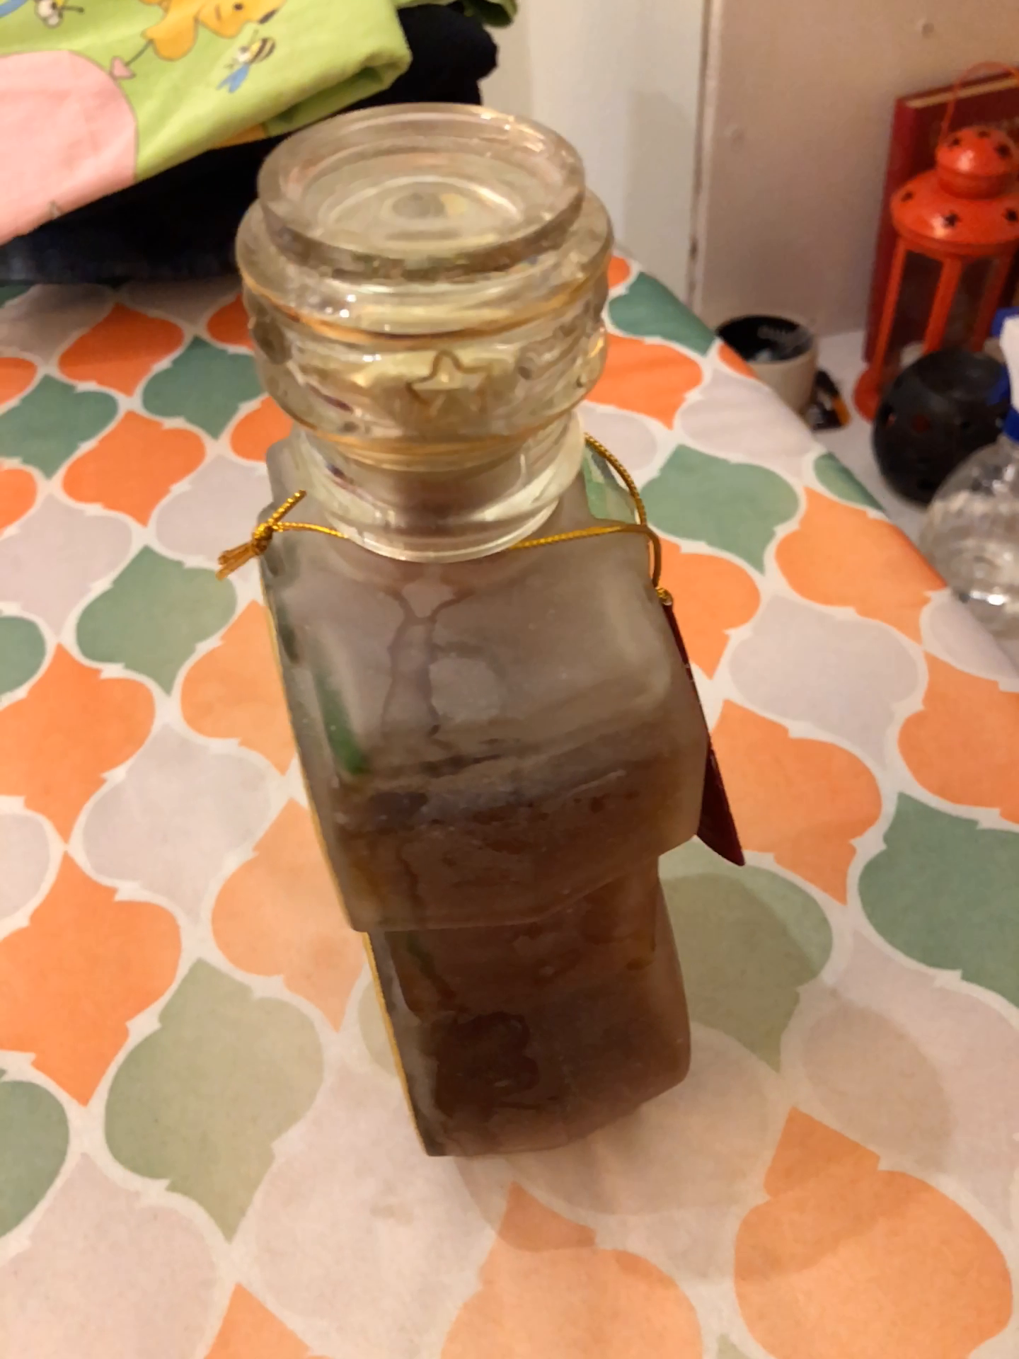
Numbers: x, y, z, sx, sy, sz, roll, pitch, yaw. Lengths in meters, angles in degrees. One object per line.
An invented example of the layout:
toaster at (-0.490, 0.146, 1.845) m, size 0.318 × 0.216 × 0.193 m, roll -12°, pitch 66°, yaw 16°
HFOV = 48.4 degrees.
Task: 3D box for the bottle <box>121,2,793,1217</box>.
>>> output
bottle at (-0.007, 0.012, 0.230) m, size 0.064 × 0.233 × 0.101 m, roll -14°, pitch 49°, yaw -7°
